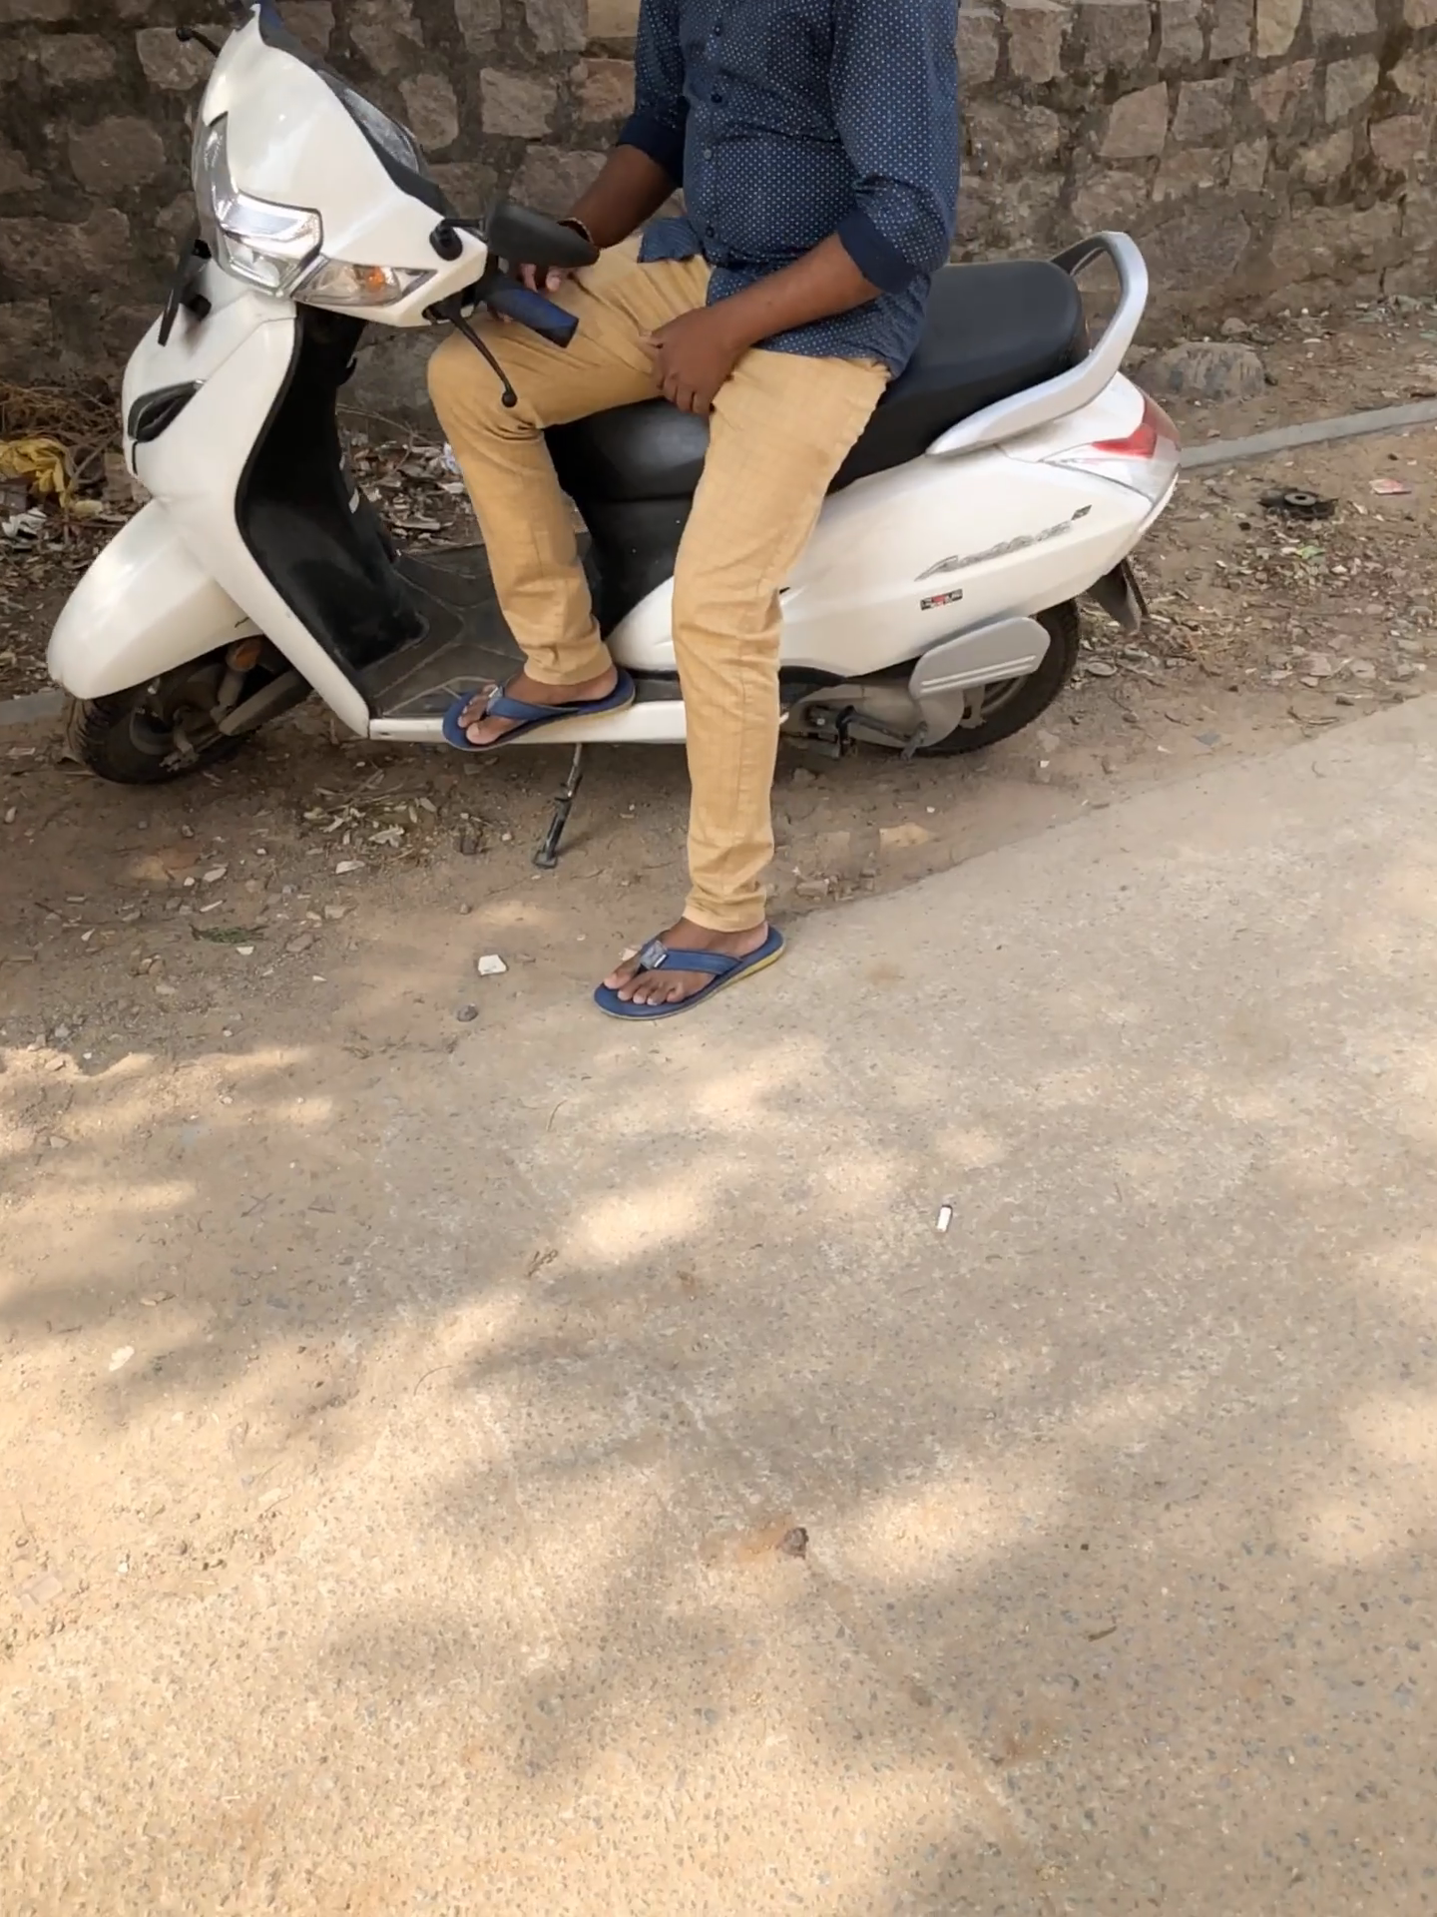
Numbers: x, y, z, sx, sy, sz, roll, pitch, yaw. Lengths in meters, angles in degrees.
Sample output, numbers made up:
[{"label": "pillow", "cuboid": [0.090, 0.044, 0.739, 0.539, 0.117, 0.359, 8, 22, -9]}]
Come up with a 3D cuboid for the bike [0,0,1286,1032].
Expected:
[{"label": "bike", "cuboid": [-0.210, -0.642, 2.125, 1.588, 1.200, 0.625, -6, 36, -6]}]
